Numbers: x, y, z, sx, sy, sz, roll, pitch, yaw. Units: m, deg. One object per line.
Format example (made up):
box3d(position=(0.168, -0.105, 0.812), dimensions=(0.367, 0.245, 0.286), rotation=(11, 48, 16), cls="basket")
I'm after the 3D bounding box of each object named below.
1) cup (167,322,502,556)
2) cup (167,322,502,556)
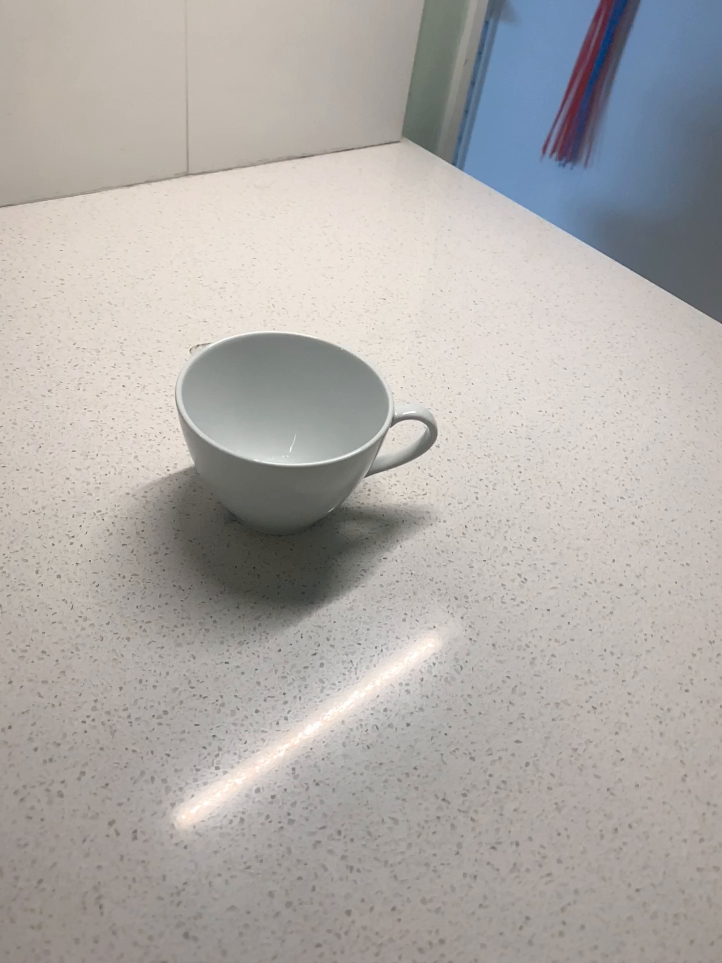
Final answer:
box3d(position=(-0.014, -0.020, 0.334), dimensions=(0.130, 0.050, 0.090), rotation=(3, 45, -8), cls="cup")
box3d(position=(-0.014, -0.020, 0.334), dimensions=(0.130, 0.050, 0.090), rotation=(3, 45, -8), cls="cup")
